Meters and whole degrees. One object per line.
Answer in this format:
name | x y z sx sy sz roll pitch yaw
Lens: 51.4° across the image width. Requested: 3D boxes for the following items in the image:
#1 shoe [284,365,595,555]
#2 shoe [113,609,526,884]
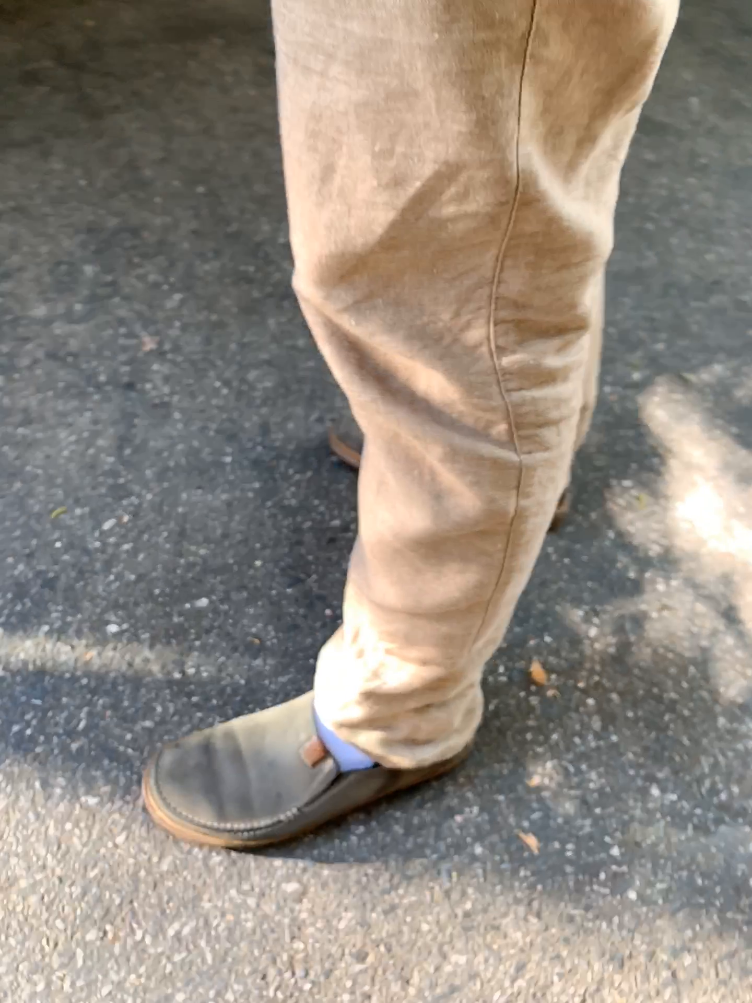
shoe | 0.069 -0.053 0.882 0.320 0.060 0.120 18 52 14
shoe | -0.048 0.205 0.676 0.320 0.080 0.121 -14 51 -12
